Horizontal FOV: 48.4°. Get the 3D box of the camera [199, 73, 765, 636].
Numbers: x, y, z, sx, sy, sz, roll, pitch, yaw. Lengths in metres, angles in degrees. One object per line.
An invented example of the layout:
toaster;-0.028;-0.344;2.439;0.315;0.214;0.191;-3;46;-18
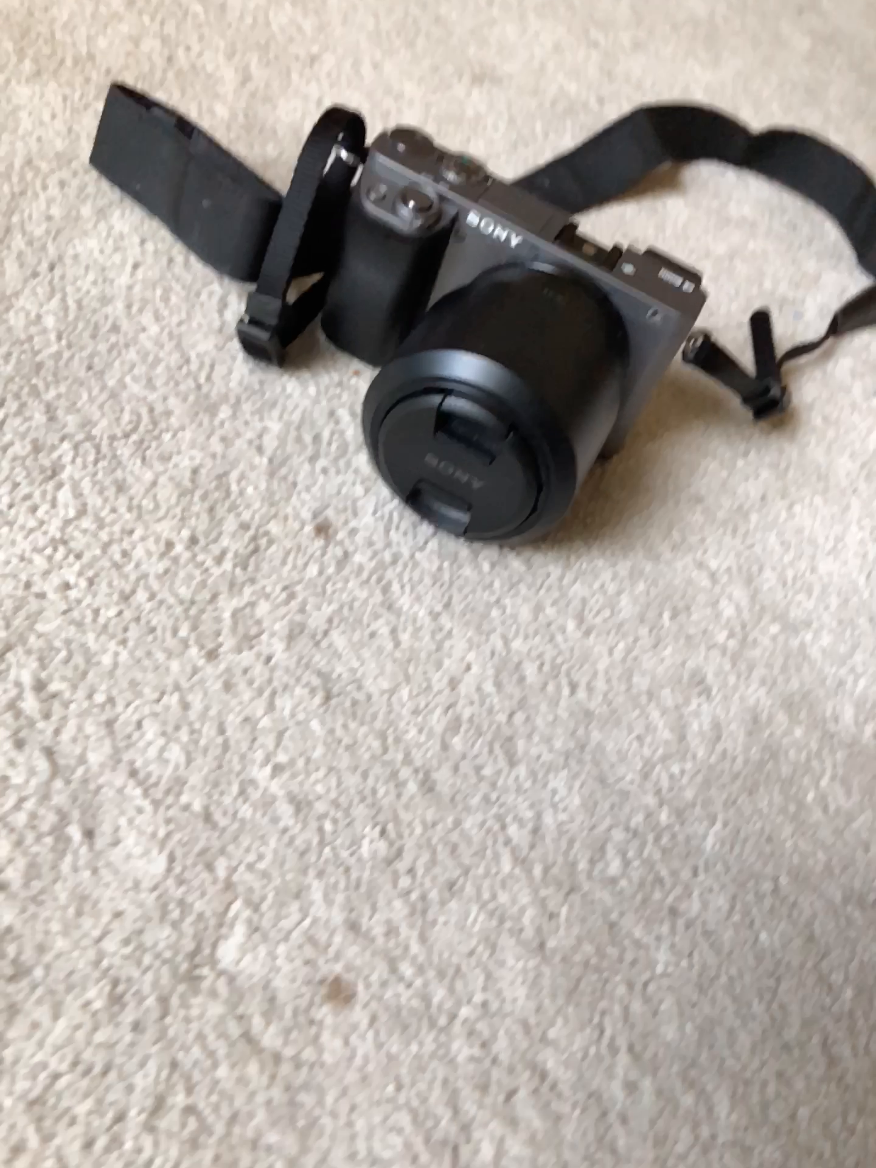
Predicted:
camera;0.016;-0.078;0.313;0.130;0.080;0.121;28;49;3
